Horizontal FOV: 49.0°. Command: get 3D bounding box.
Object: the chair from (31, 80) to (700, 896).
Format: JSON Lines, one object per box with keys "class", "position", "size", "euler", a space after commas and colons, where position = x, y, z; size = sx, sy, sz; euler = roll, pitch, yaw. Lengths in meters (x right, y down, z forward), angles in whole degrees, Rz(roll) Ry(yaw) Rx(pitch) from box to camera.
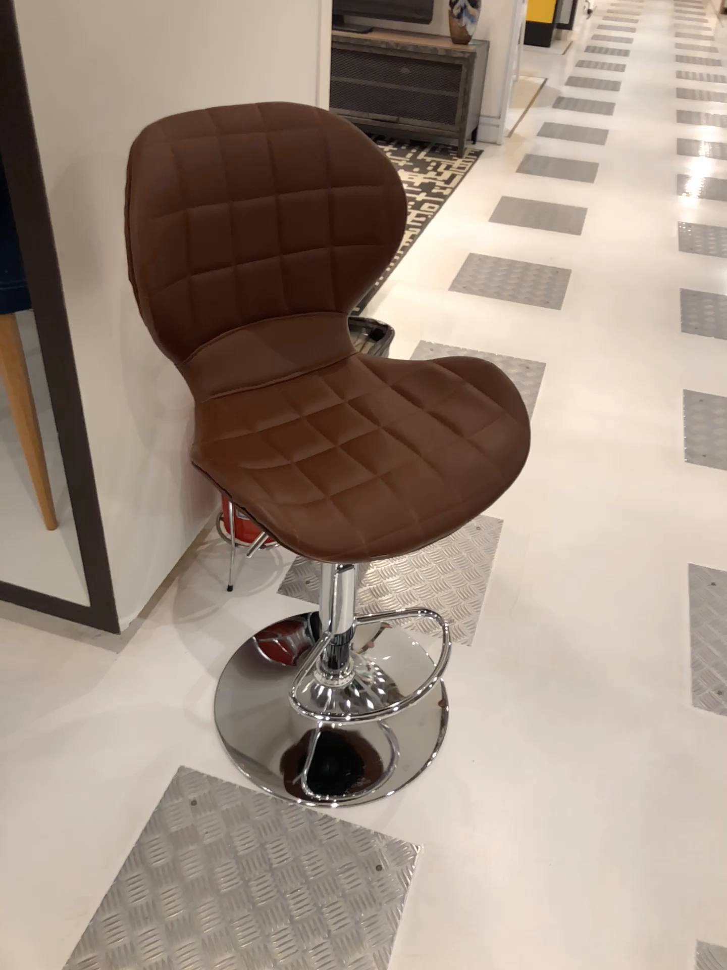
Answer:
{"class": "chair", "position": [-0.038, -0.002, 1.132], "size": [0.542, 0.923, 0.492], "euler": [-19, 42, -28]}
